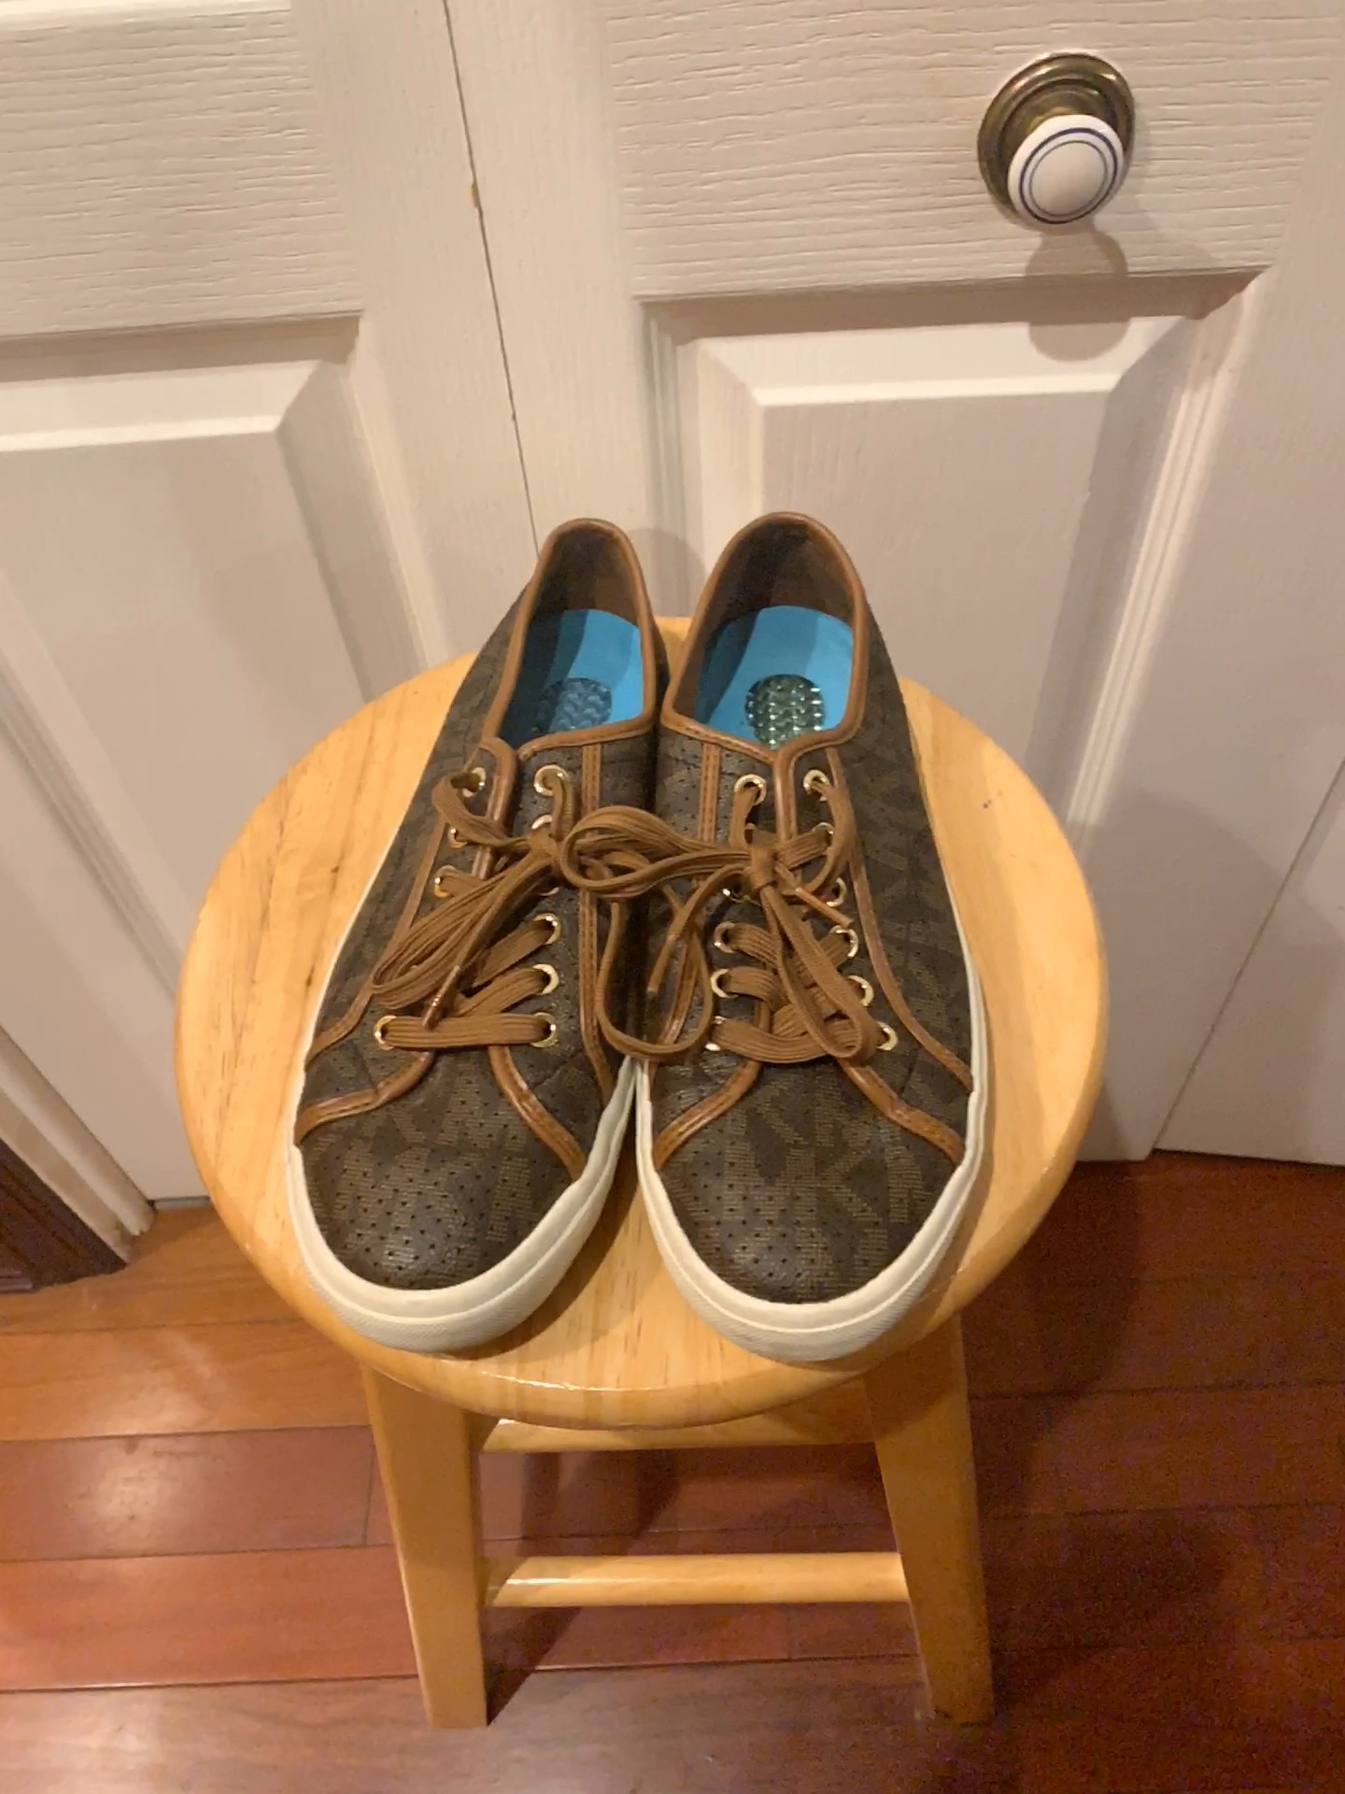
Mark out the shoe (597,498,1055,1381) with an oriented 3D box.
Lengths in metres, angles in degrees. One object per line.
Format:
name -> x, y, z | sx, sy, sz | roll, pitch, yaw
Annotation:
shoe -> 0.040, -0.001, 0.412 | 0.100, 0.080, 0.261 | 0, 54, 4

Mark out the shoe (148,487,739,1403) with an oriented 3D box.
shoe -> -0.046, -0.001, 0.414 | 0.100, 0.090, 0.261 | 5, 55, 8
